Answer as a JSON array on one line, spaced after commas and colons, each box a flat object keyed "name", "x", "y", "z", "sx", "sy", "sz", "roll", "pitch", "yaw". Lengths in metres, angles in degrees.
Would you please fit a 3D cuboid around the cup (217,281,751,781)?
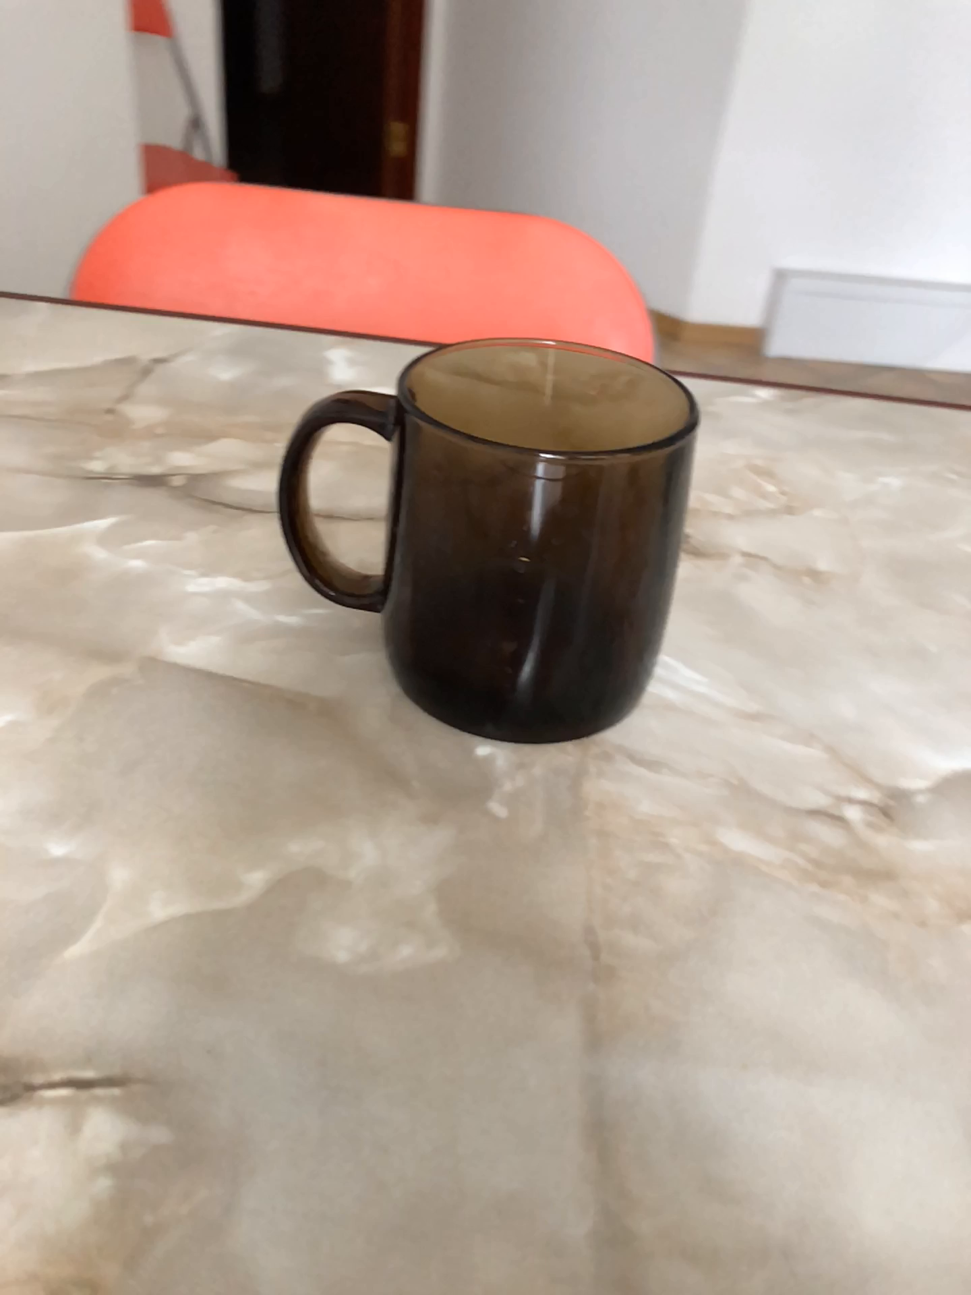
[{"name": "cup", "x": 0.002, "y": -0.039, "z": 0.311, "sx": 0.122, "sy": 0.090, "sz": 0.091, "roll": 14, "pitch": 35, "yaw": 11}]
